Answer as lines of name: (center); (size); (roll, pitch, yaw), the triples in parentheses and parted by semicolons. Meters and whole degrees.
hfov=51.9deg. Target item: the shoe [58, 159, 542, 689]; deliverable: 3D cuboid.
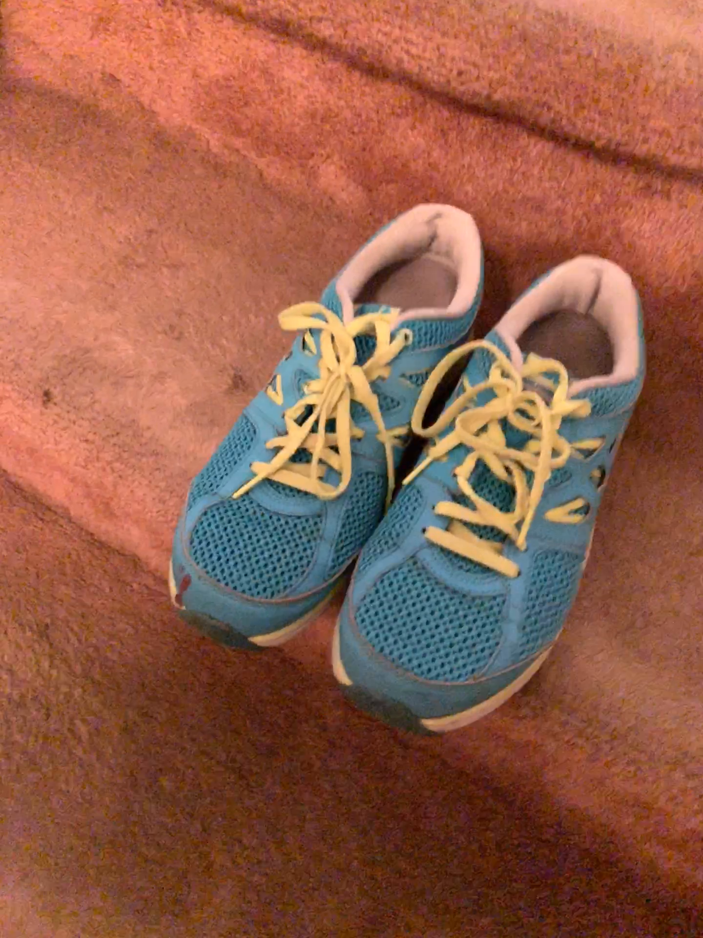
shoe: (-0.006, -0.047, 0.388); (0.110, 0.099, 0.282); (25, 51, 13)

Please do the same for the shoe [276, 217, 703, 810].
shoe: (0.088, -0.002, 0.363); (0.110, 0.099, 0.282); (27, 52, 14)
